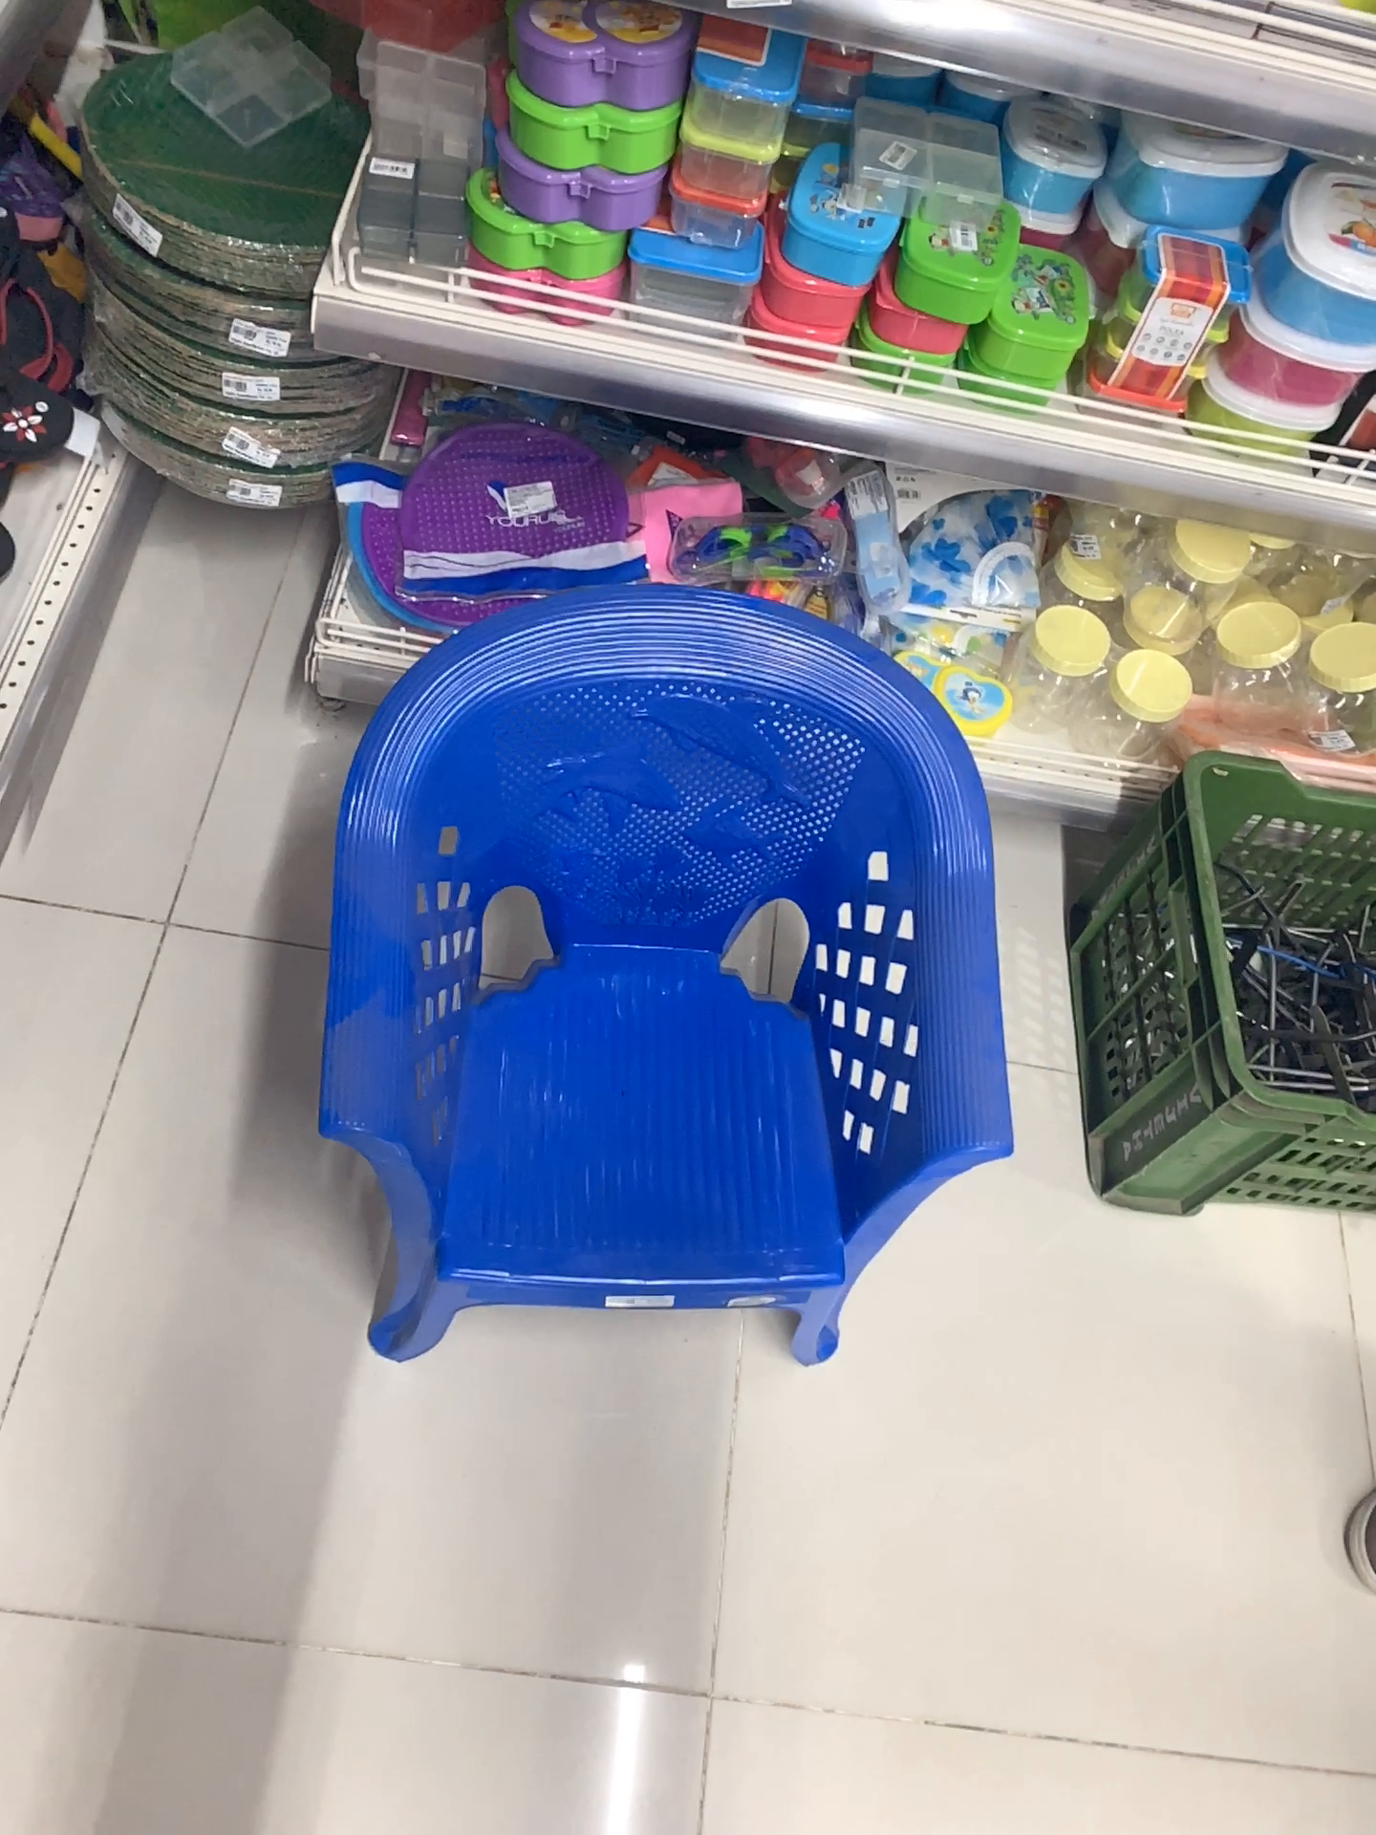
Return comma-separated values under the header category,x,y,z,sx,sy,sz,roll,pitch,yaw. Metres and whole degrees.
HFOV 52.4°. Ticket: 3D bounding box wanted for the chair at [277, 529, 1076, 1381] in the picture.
category,x,y,z,sx,sy,sz,roll,pitch,yaw
chair,-0.039,0.066,1.039,0.420,0.469,0.451,3,61,-8
